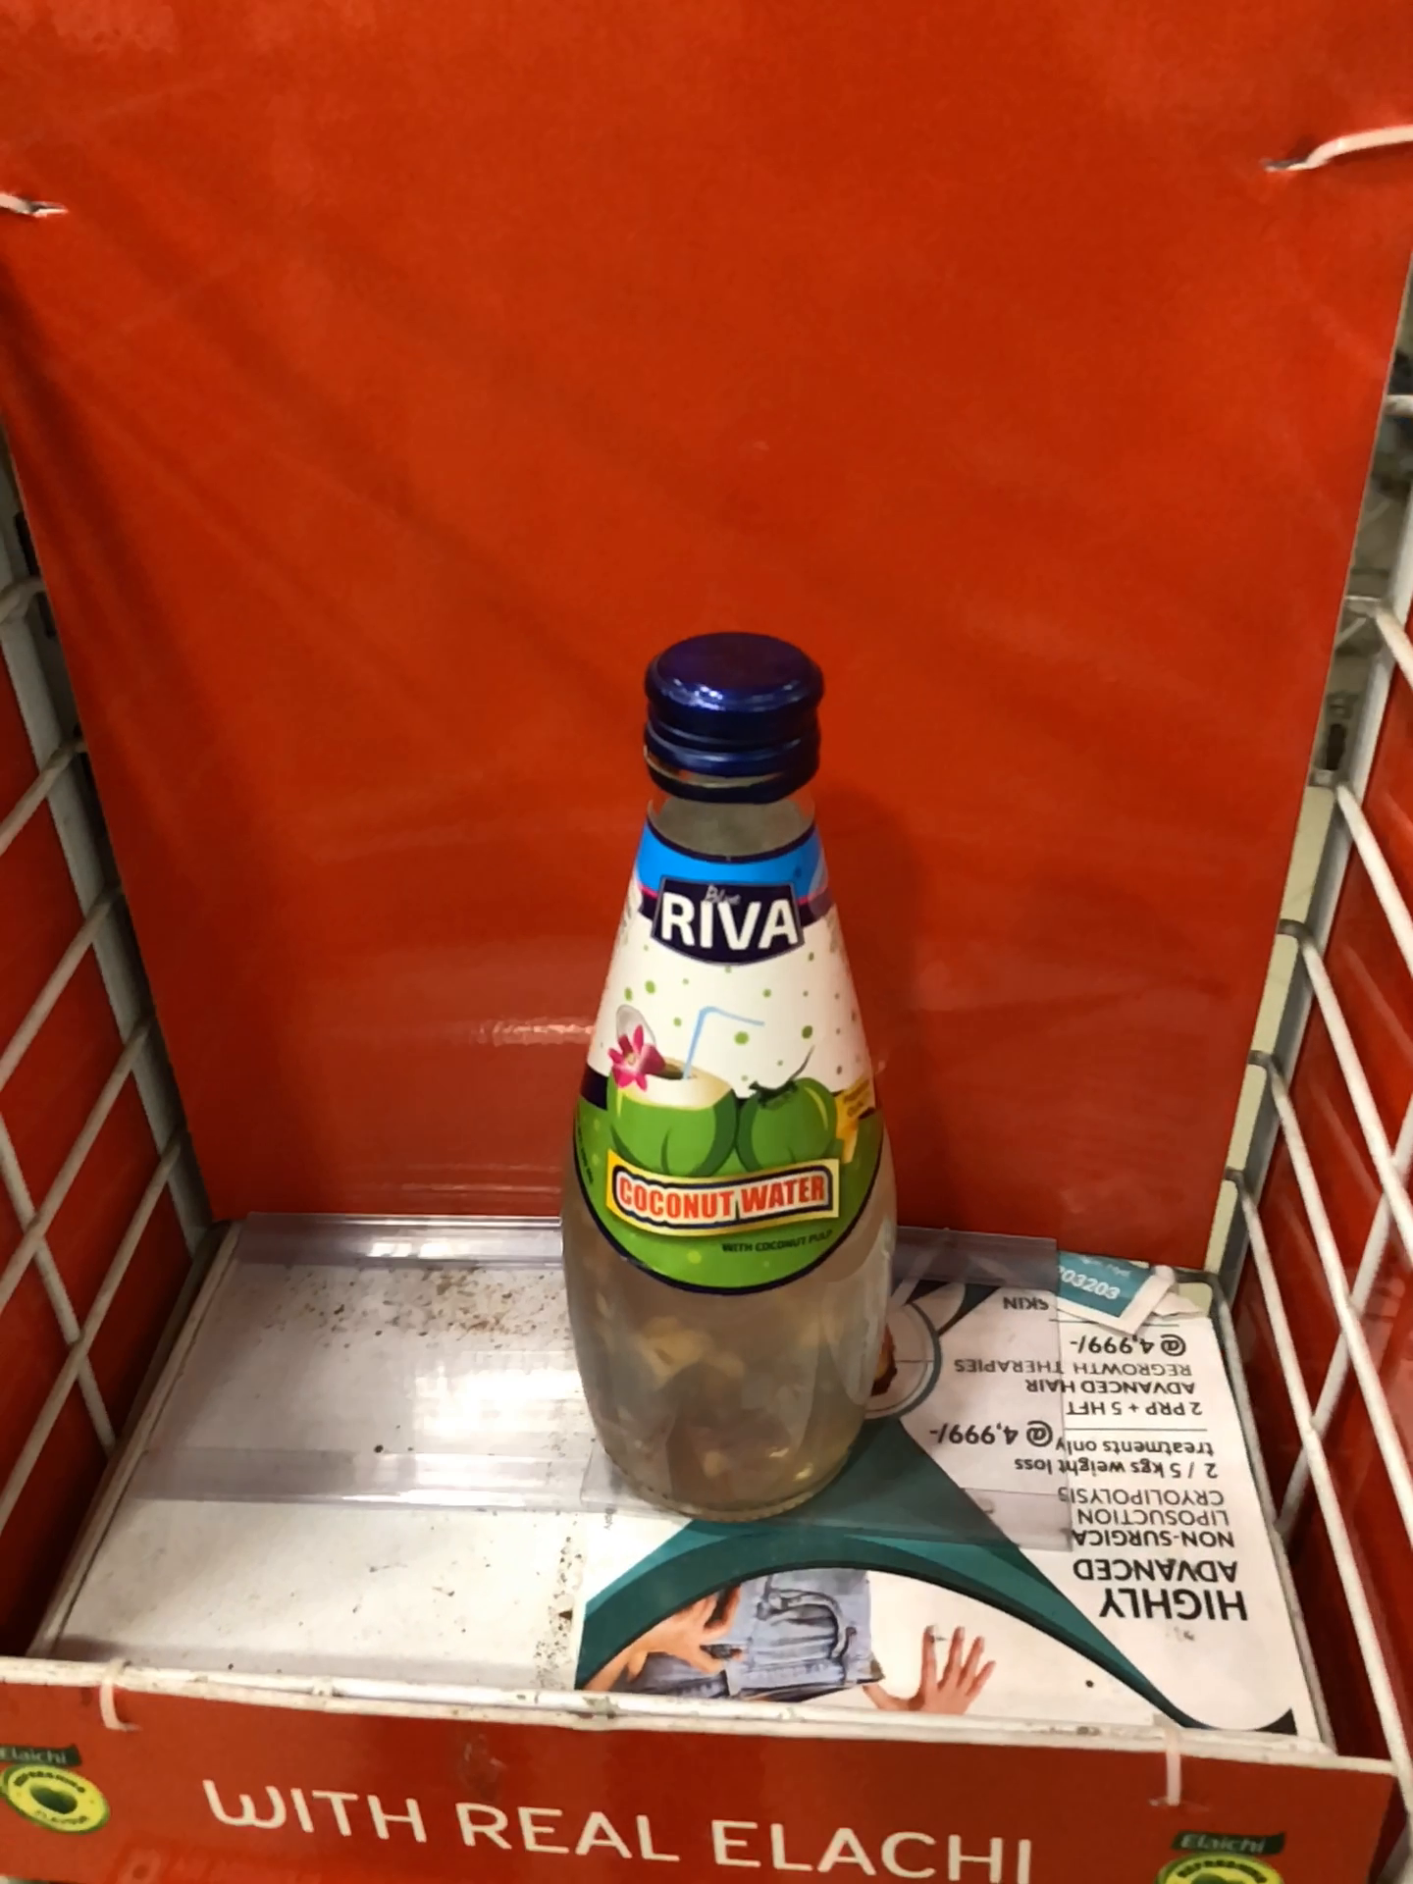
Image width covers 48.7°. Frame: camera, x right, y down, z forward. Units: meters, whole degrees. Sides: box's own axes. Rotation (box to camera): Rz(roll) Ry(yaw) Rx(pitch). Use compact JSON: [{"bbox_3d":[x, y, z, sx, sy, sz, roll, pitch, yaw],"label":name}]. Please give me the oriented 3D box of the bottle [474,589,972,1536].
[{"bbox_3d":[0.007,0.030,0.295,0.070,0.179,0.060,1,35,4],"label":"bottle"}]
